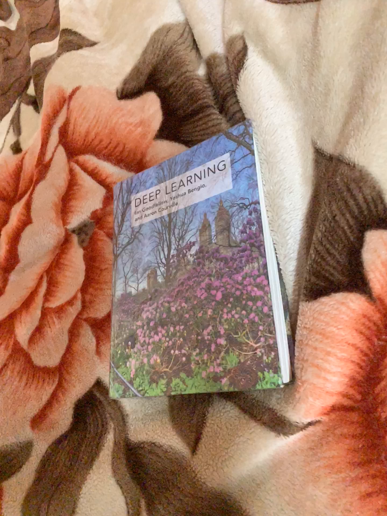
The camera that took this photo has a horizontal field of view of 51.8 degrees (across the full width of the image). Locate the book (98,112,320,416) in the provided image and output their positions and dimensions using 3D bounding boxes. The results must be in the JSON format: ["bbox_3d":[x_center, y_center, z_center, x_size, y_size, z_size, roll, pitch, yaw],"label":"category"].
[{"bbox_3d":[-0.004,0.013,0.394,0.211,0.030,0.261,-16,65,31],"label":"book"}]
